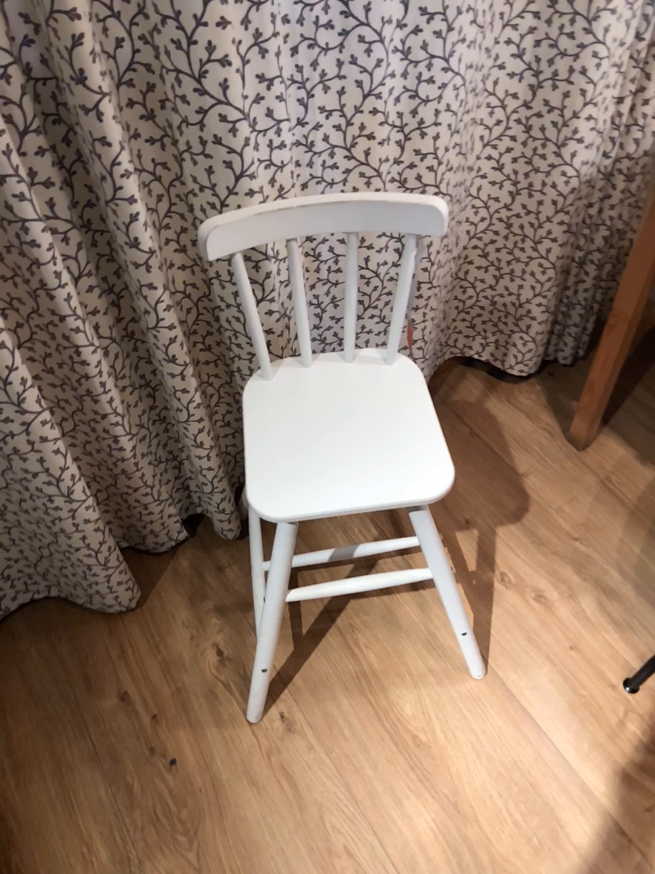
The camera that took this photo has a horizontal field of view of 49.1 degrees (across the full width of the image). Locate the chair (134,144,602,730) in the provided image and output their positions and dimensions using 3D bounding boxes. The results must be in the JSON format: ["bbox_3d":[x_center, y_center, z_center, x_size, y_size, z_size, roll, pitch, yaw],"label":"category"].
[{"bbox_3d":[0.019,0.046,1.053,0.420,0.706,0.453,-10,51,-5],"label":"chair"}]
